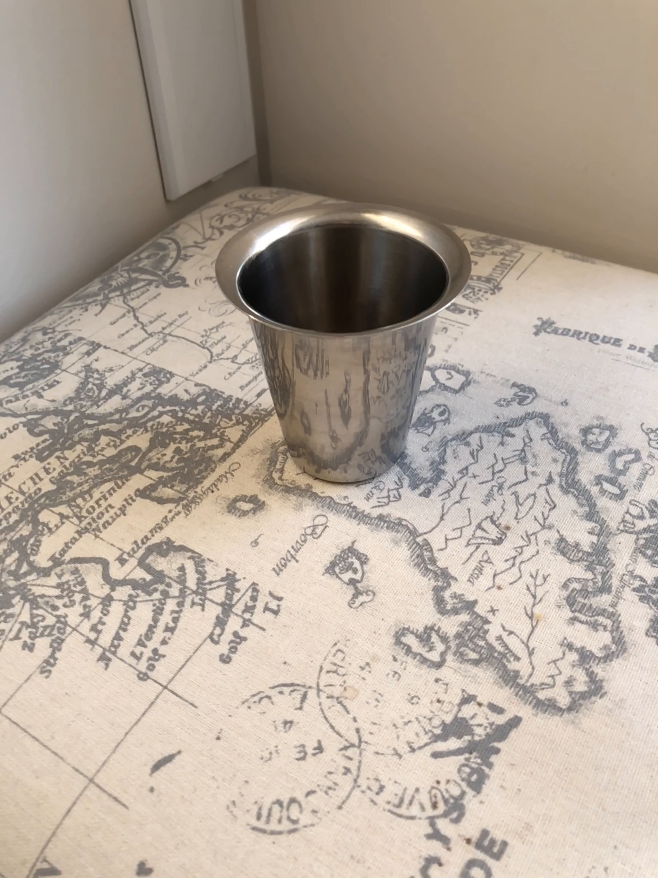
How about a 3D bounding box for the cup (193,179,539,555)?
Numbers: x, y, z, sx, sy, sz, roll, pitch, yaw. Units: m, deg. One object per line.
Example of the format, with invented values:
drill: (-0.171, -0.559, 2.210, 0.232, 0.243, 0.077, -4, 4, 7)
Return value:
cup: (0.008, -0.028, 0.254, 0.081, 0.081, 0.084, -1, 42, 1)
